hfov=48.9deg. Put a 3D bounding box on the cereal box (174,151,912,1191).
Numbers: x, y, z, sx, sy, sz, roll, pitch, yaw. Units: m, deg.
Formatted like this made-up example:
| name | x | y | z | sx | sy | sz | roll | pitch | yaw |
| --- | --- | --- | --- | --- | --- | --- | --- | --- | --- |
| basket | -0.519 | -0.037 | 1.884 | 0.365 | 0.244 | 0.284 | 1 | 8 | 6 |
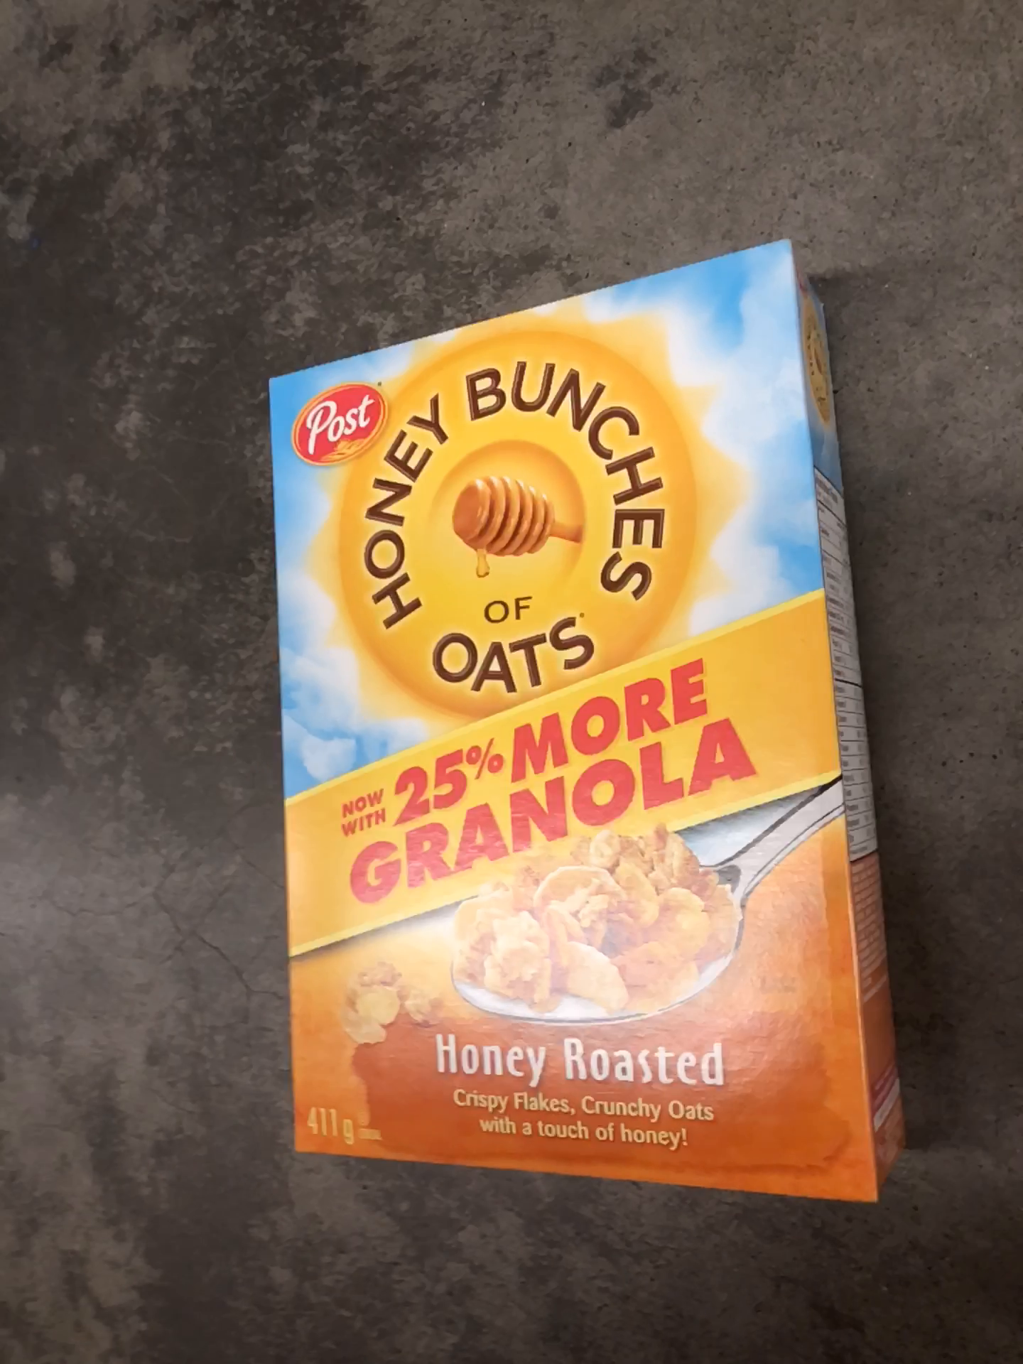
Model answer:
| name | x | y | z | sx | sy | sz | roll | pitch | yaw |
| --- | --- | --- | --- | --- | --- | --- | --- | --- | --- |
| cereal box | 0.003 | 0.004 | 0.369 | 0.210 | 0.060 | 0.280 | -7 | 86 | 22 |
